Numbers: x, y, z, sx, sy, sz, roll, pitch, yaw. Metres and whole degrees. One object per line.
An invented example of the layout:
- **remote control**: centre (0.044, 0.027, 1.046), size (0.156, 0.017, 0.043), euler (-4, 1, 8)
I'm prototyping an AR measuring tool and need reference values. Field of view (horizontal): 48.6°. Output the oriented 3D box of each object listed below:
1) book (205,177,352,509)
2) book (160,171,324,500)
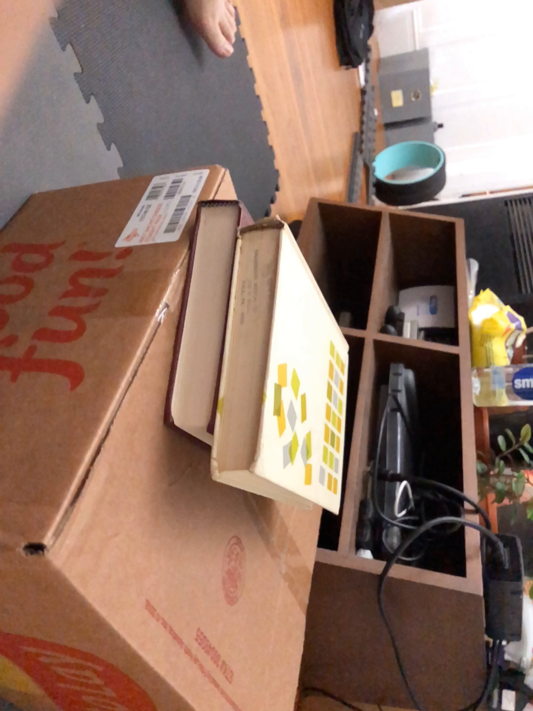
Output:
- **book**: centre (0.026, 0.015, 0.458), size (0.251, 0.040, 0.180), euler (49, 42, -65)
- **book**: centre (-0.001, 0.007, 0.480), size (0.251, 0.040, 0.180), euler (53, 38, -63)
